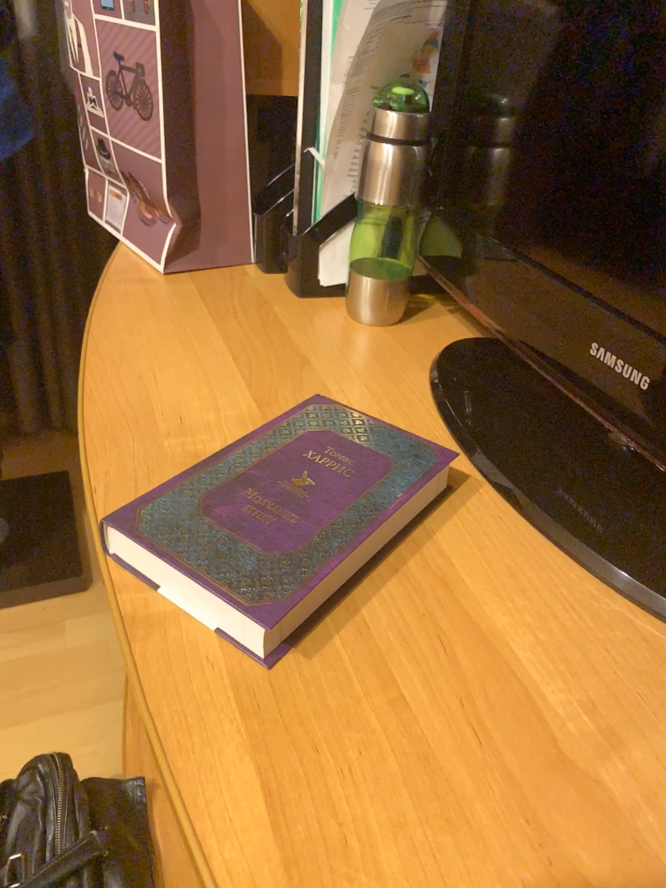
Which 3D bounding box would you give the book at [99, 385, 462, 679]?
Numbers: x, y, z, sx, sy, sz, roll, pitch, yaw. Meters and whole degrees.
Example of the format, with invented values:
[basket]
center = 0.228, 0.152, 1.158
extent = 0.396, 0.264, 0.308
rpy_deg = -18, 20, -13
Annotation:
[book]
center = -0.024, 0.038, 0.442
extent = 0.130, 0.040, 0.201
rpy_deg = 25, 39, 27
